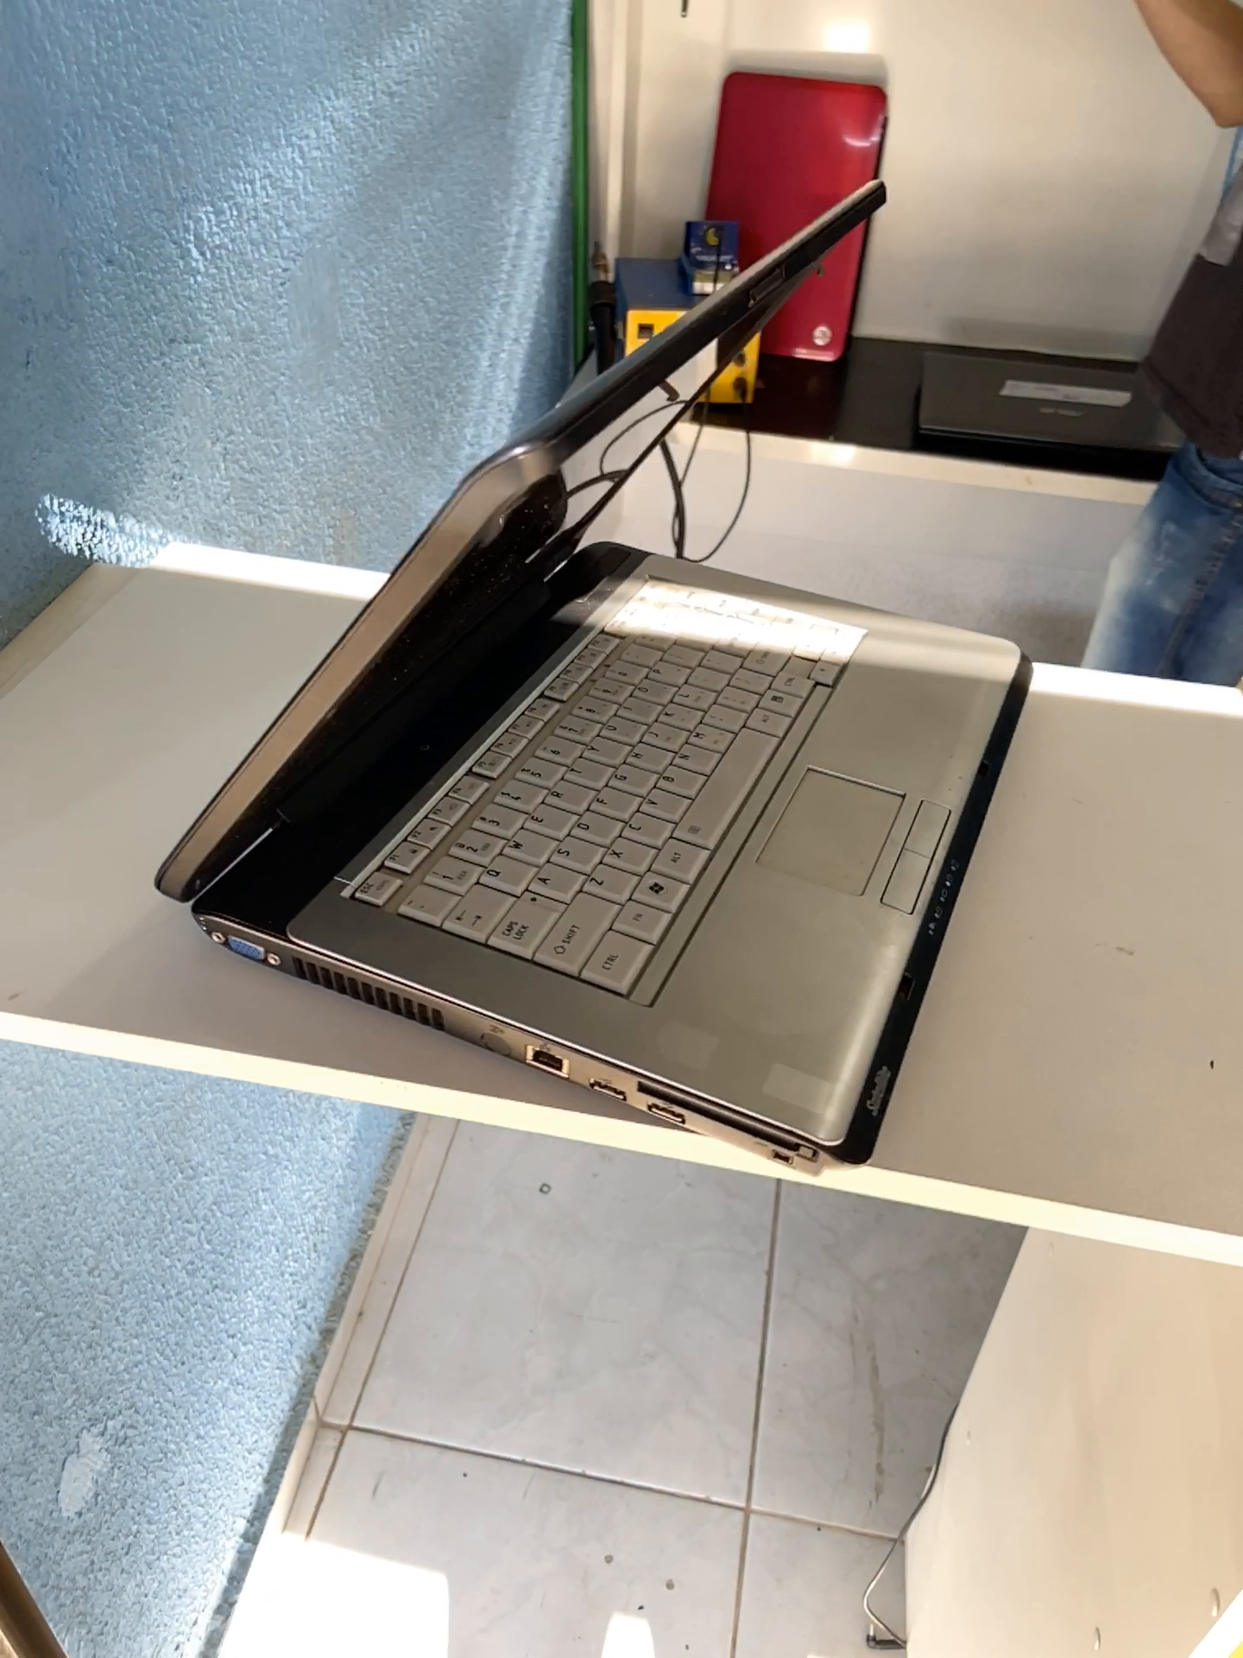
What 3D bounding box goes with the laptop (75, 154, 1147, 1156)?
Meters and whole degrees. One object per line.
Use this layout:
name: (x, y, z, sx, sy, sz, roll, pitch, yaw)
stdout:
laptop: (0.033, -0.108, 0.503, 0.246, 0.202, 0.353, 17, 40, 17)
